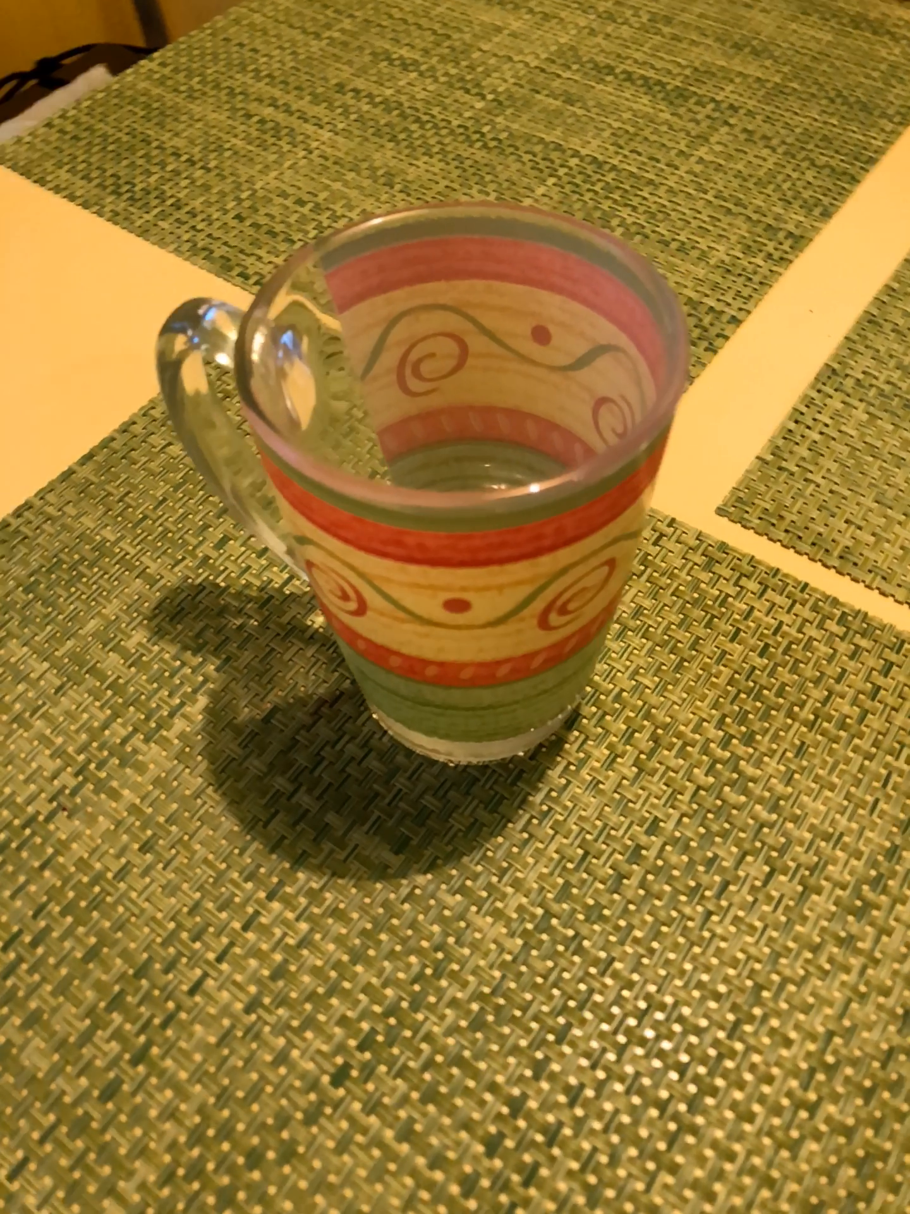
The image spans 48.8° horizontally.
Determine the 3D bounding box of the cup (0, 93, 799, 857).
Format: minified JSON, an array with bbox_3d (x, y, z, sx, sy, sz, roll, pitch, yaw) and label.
[{"bbox_3d":[-0.011,-0.028,0.206,0.120,0.090,0.090,19,58,14],"label":"cup"}]
